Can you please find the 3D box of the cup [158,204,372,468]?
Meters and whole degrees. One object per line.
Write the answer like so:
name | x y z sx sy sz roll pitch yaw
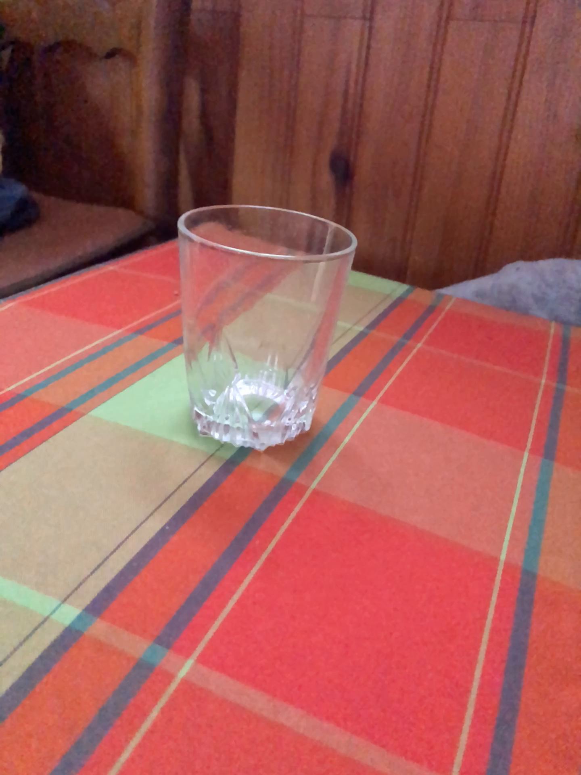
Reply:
cup | -0.010 -0.024 0.260 0.070 0.080 0.070 4 26 -2
